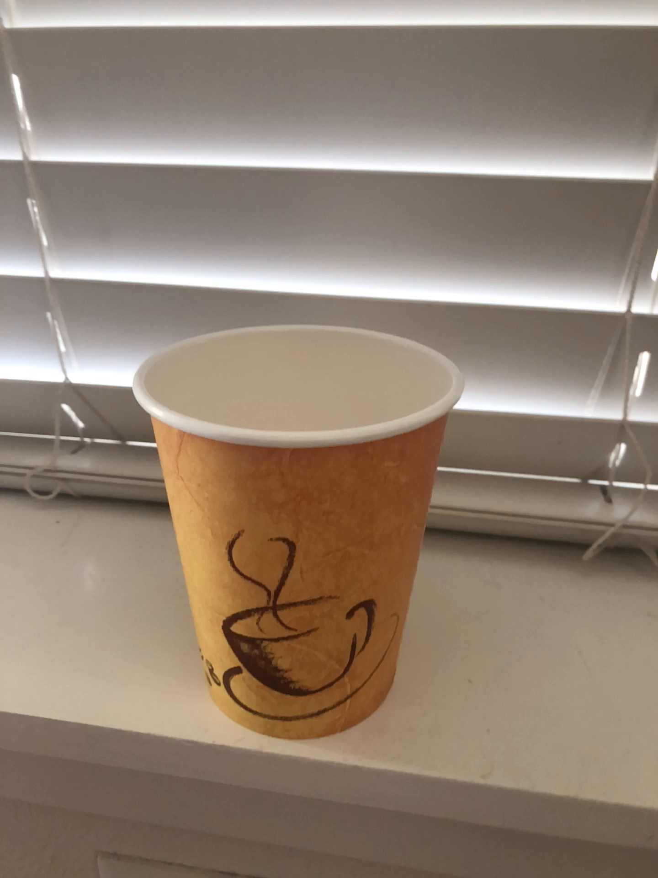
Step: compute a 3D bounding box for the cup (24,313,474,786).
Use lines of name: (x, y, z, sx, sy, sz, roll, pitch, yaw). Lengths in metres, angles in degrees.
cup: (-0.013, 0.022, 0.217, 0.095, 0.088, 0.094, 1, 24, 0)
